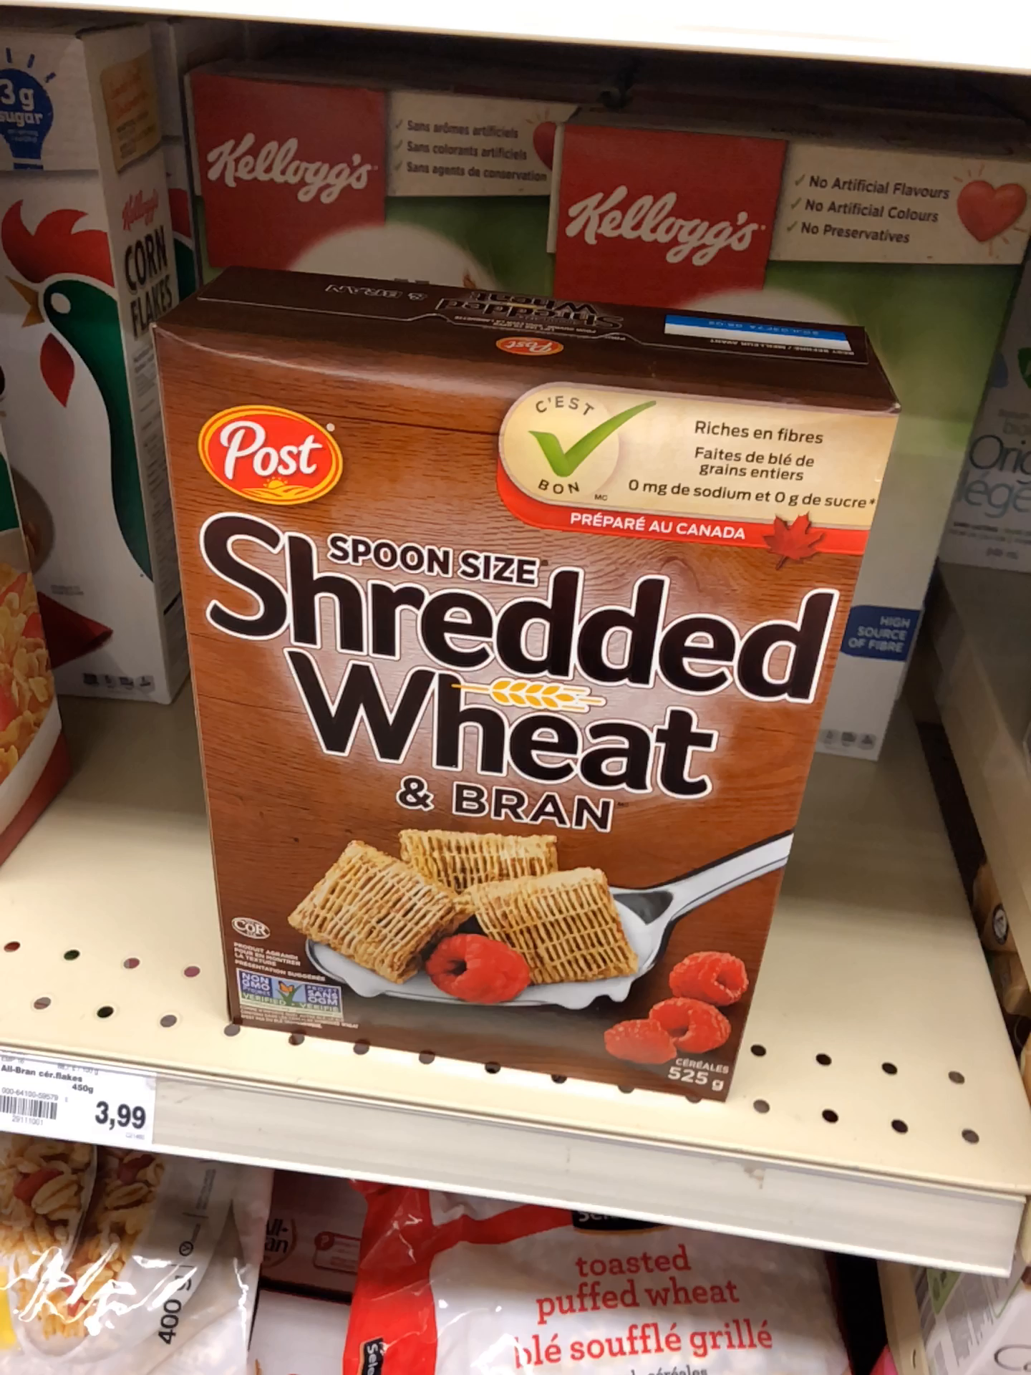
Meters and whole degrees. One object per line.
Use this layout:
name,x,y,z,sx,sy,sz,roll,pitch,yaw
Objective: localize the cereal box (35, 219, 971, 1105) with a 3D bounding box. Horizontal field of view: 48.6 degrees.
cereal box,-0.008,0.004,0.351,0.210,0.248,0.071,7,34,6
